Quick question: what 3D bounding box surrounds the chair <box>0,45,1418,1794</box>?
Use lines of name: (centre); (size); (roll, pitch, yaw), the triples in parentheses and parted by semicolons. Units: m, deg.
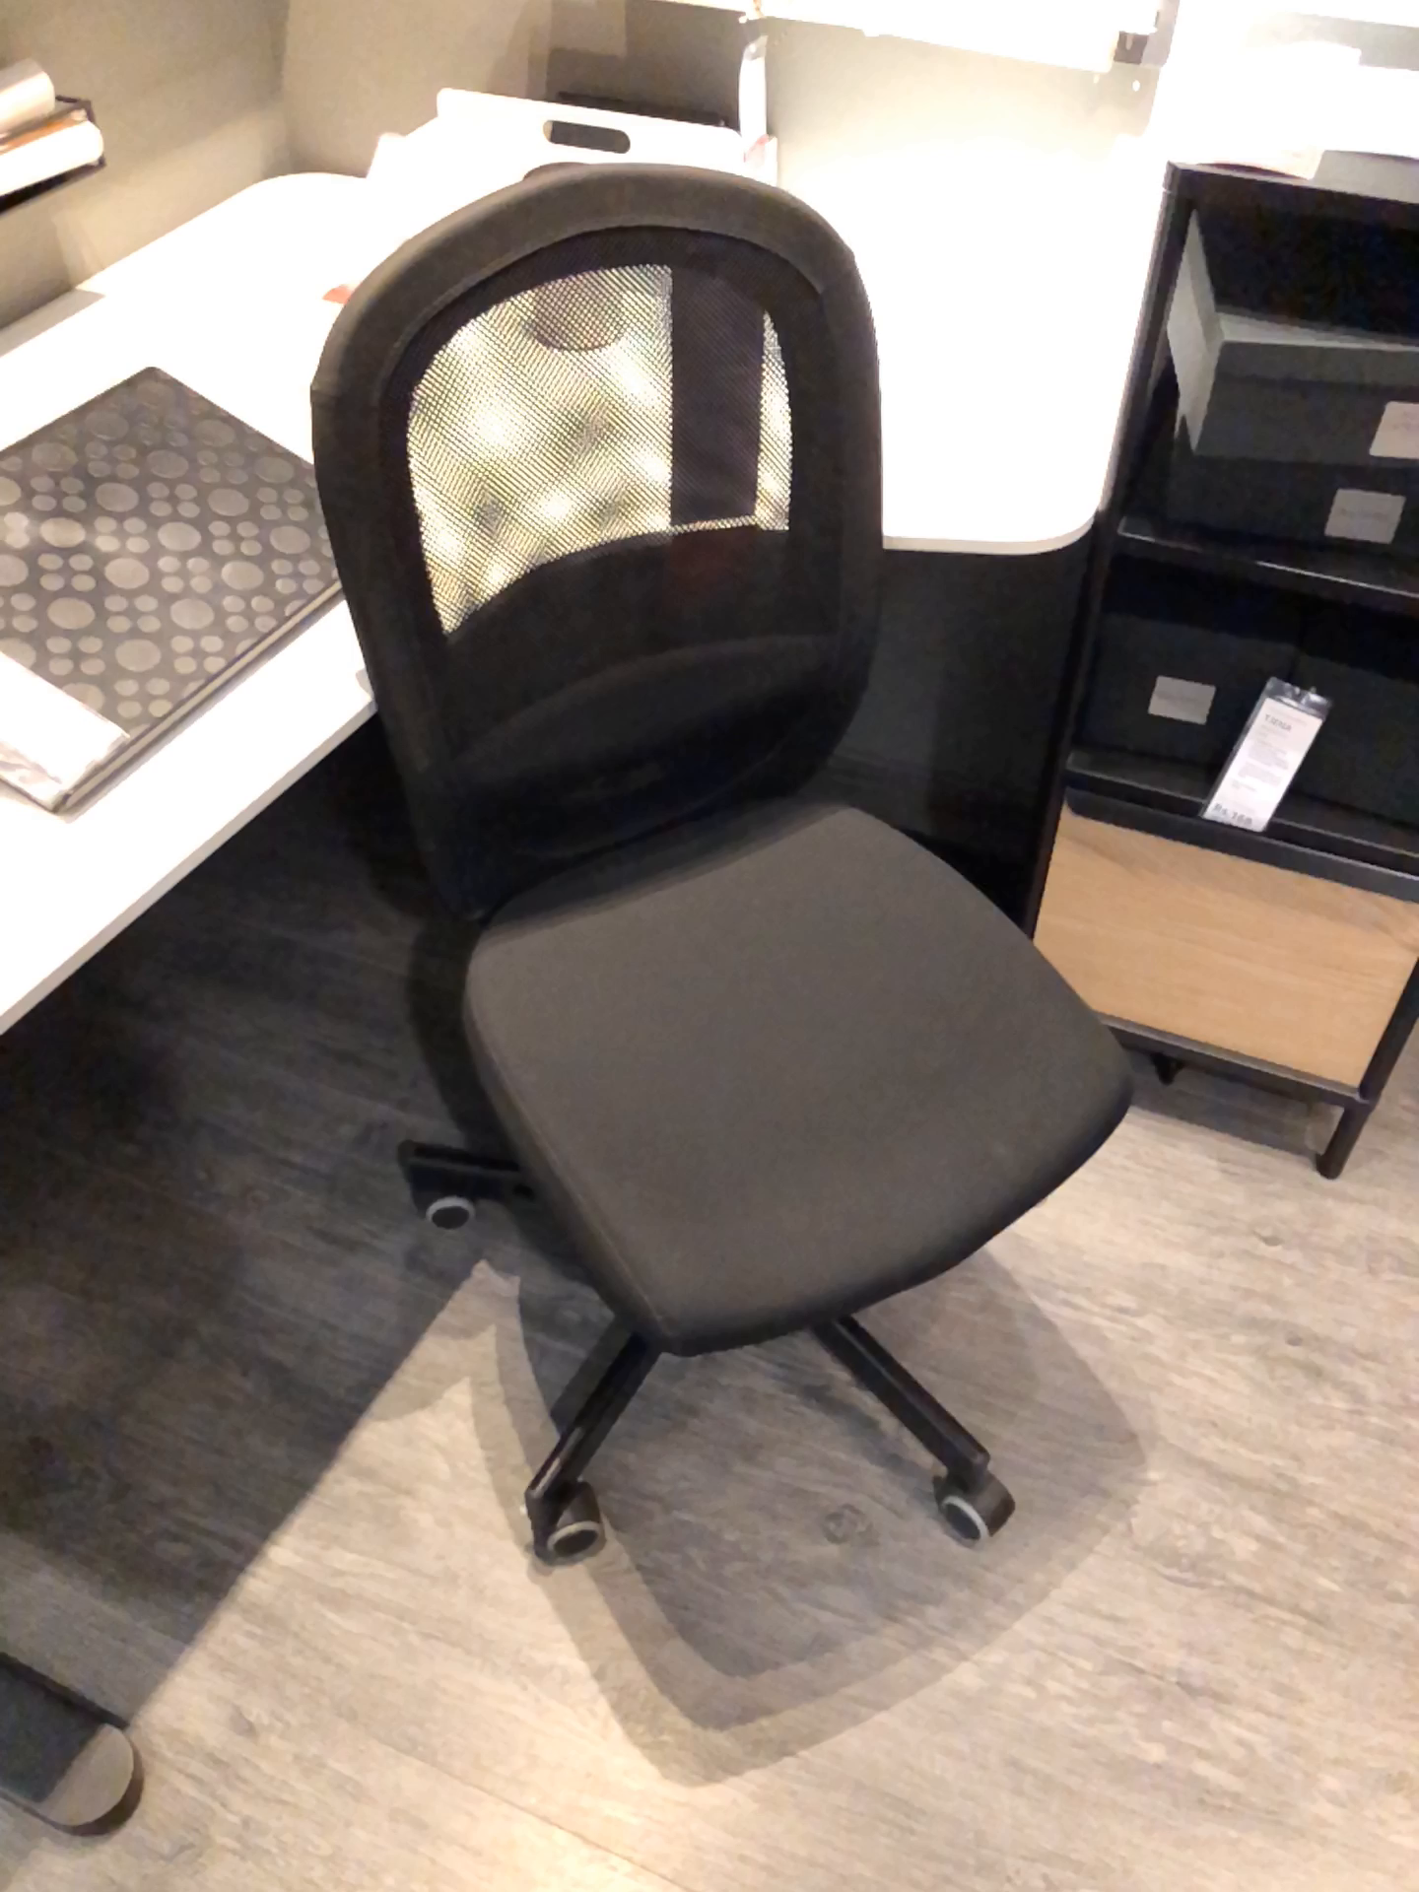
chair: (0.028, -0.030, 1.155); (0.631, 0.884, 0.713); (-26, 51, -24)
